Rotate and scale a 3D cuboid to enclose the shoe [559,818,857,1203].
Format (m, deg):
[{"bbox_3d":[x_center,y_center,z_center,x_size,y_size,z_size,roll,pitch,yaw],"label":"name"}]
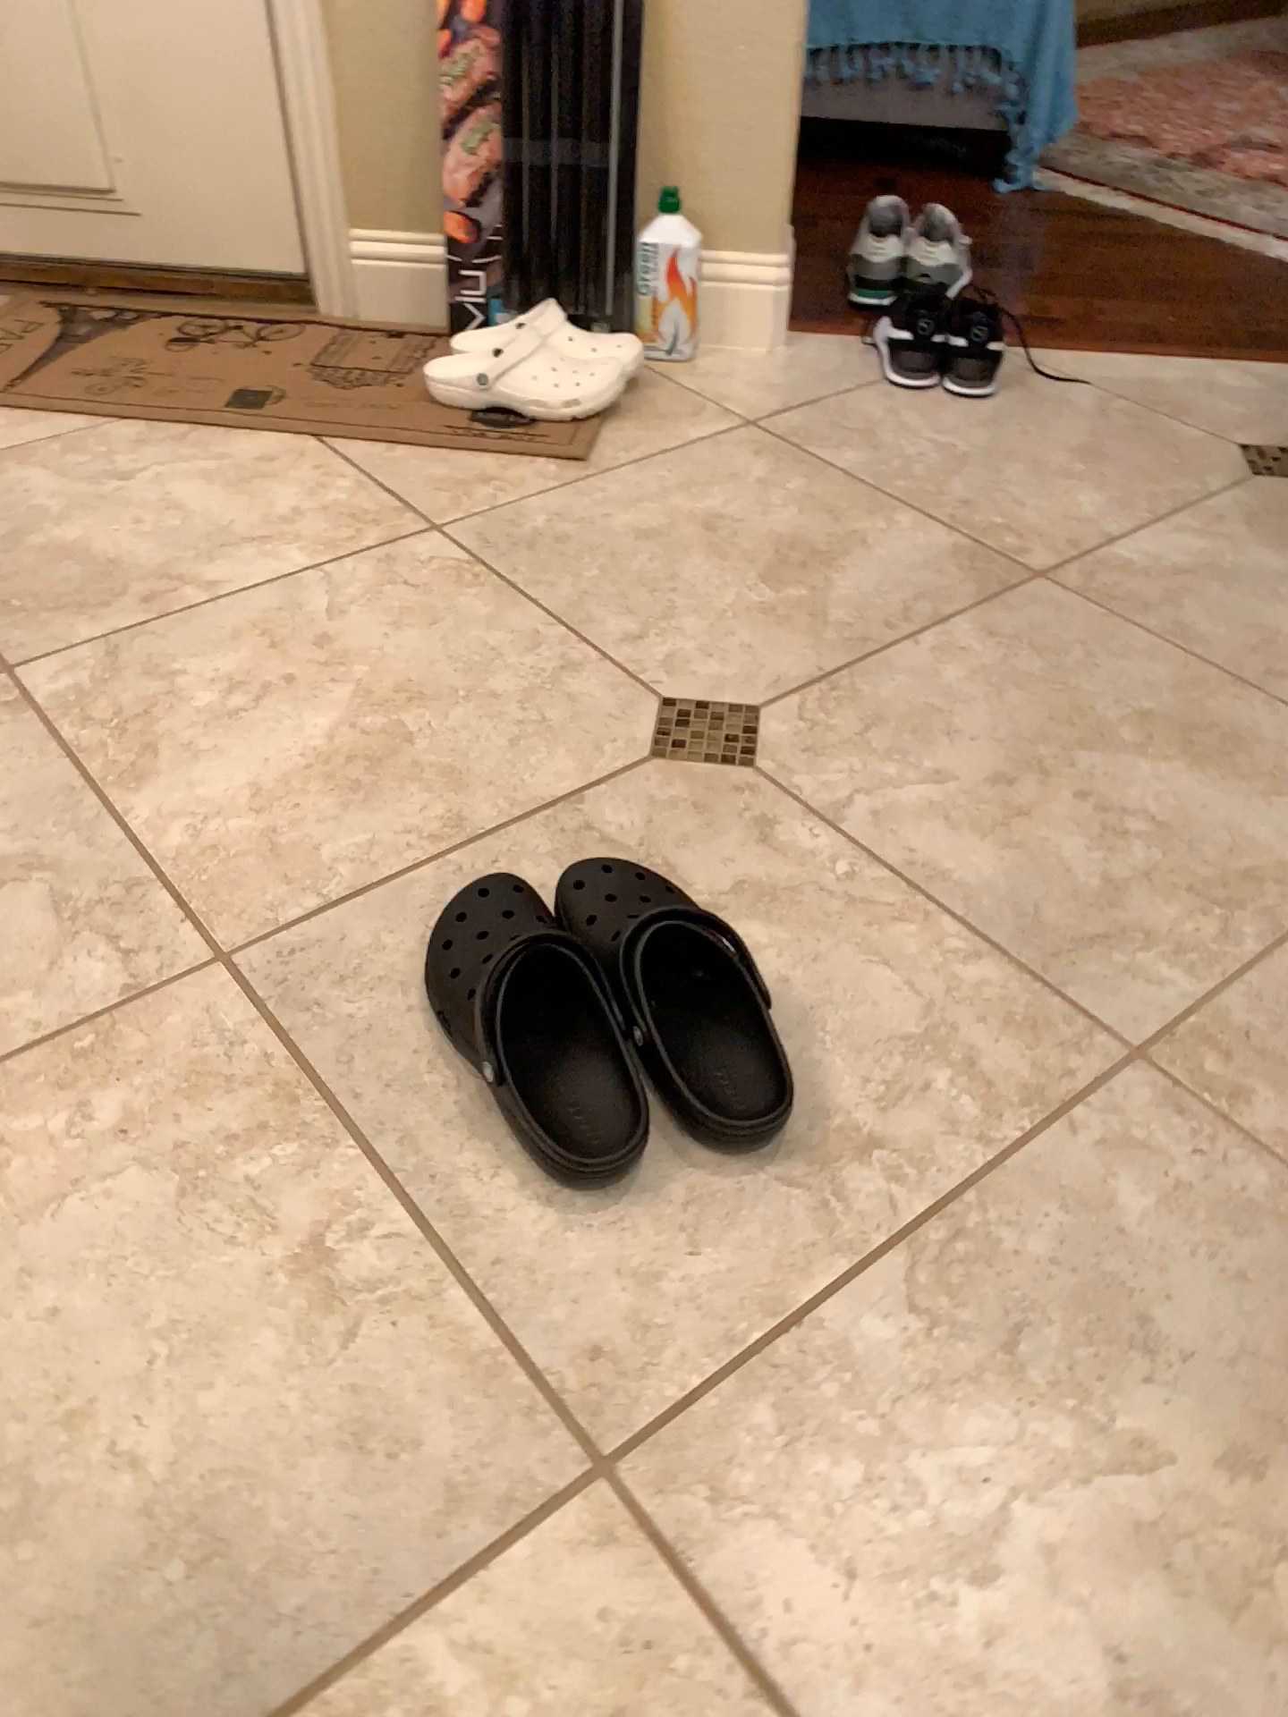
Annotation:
[{"bbox_3d":[0.035,0.099,0.963,0.113,0.085,0.279,-13,43,-16],"label":"shoe"}]

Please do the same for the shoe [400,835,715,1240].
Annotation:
[{"bbox_3d":[-0.070,0.115,0.939,0.123,0.085,0.279,-16,44,-19],"label":"shoe"}]
